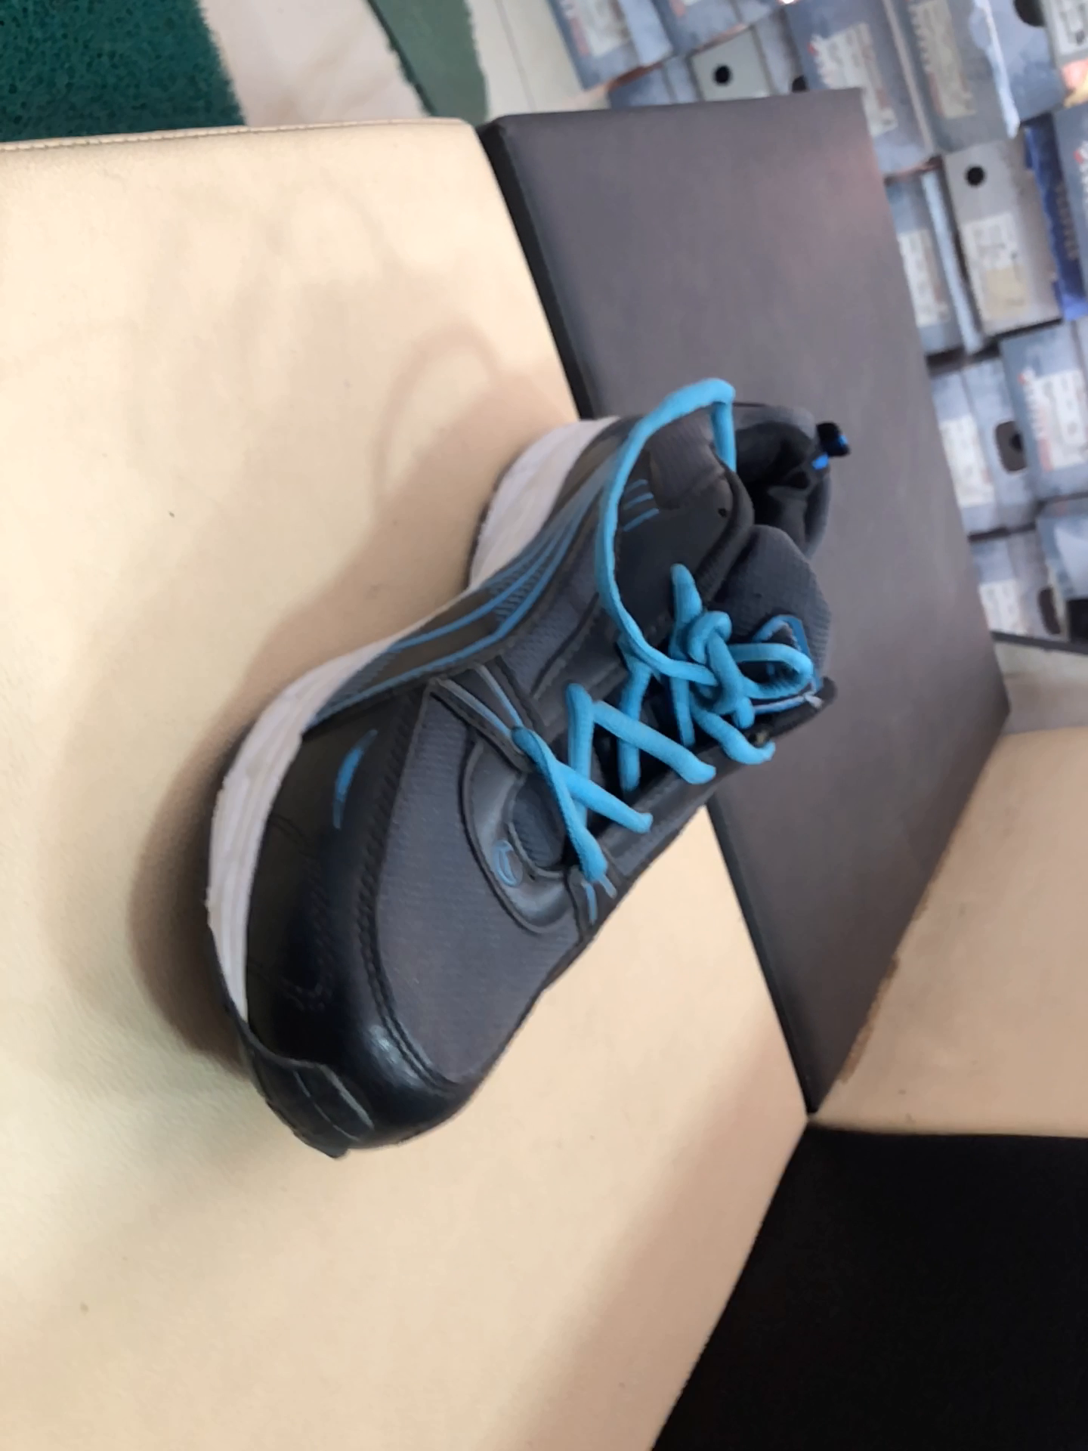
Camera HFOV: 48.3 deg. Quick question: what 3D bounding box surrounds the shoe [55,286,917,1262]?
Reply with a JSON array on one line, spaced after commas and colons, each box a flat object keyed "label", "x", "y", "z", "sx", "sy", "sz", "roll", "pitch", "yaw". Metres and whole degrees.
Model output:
[{"label": "shoe", "x": 0.014, "y": -0.010, "z": 0.340, "sx": 0.100, "sy": 0.099, "sz": 0.271, "roll": 61, "pitch": 41, "yaw": -27}]
